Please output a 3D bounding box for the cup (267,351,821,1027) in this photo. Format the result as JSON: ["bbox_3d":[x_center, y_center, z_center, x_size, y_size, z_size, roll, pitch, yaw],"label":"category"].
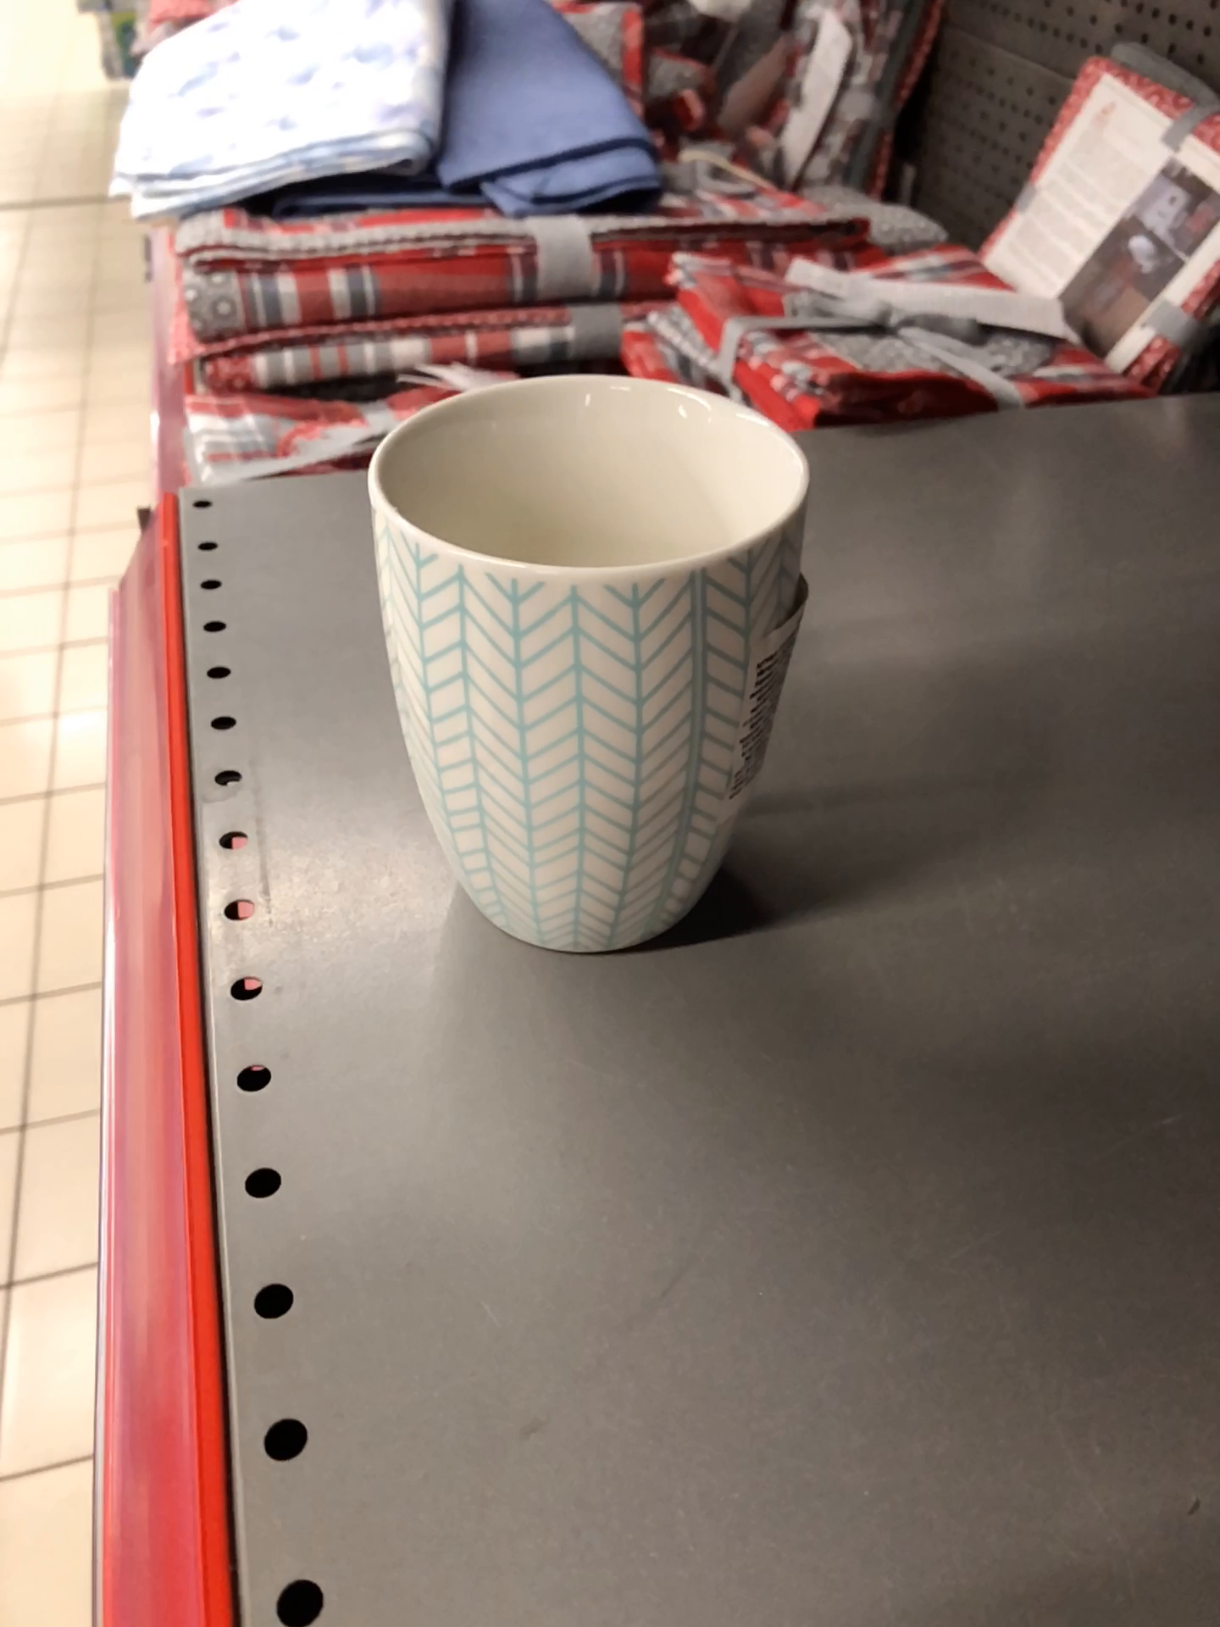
[{"bbox_3d":[-0.007,-0.032,0.302,0.093,0.096,0.120,2,41,3],"label":"cup"}]
